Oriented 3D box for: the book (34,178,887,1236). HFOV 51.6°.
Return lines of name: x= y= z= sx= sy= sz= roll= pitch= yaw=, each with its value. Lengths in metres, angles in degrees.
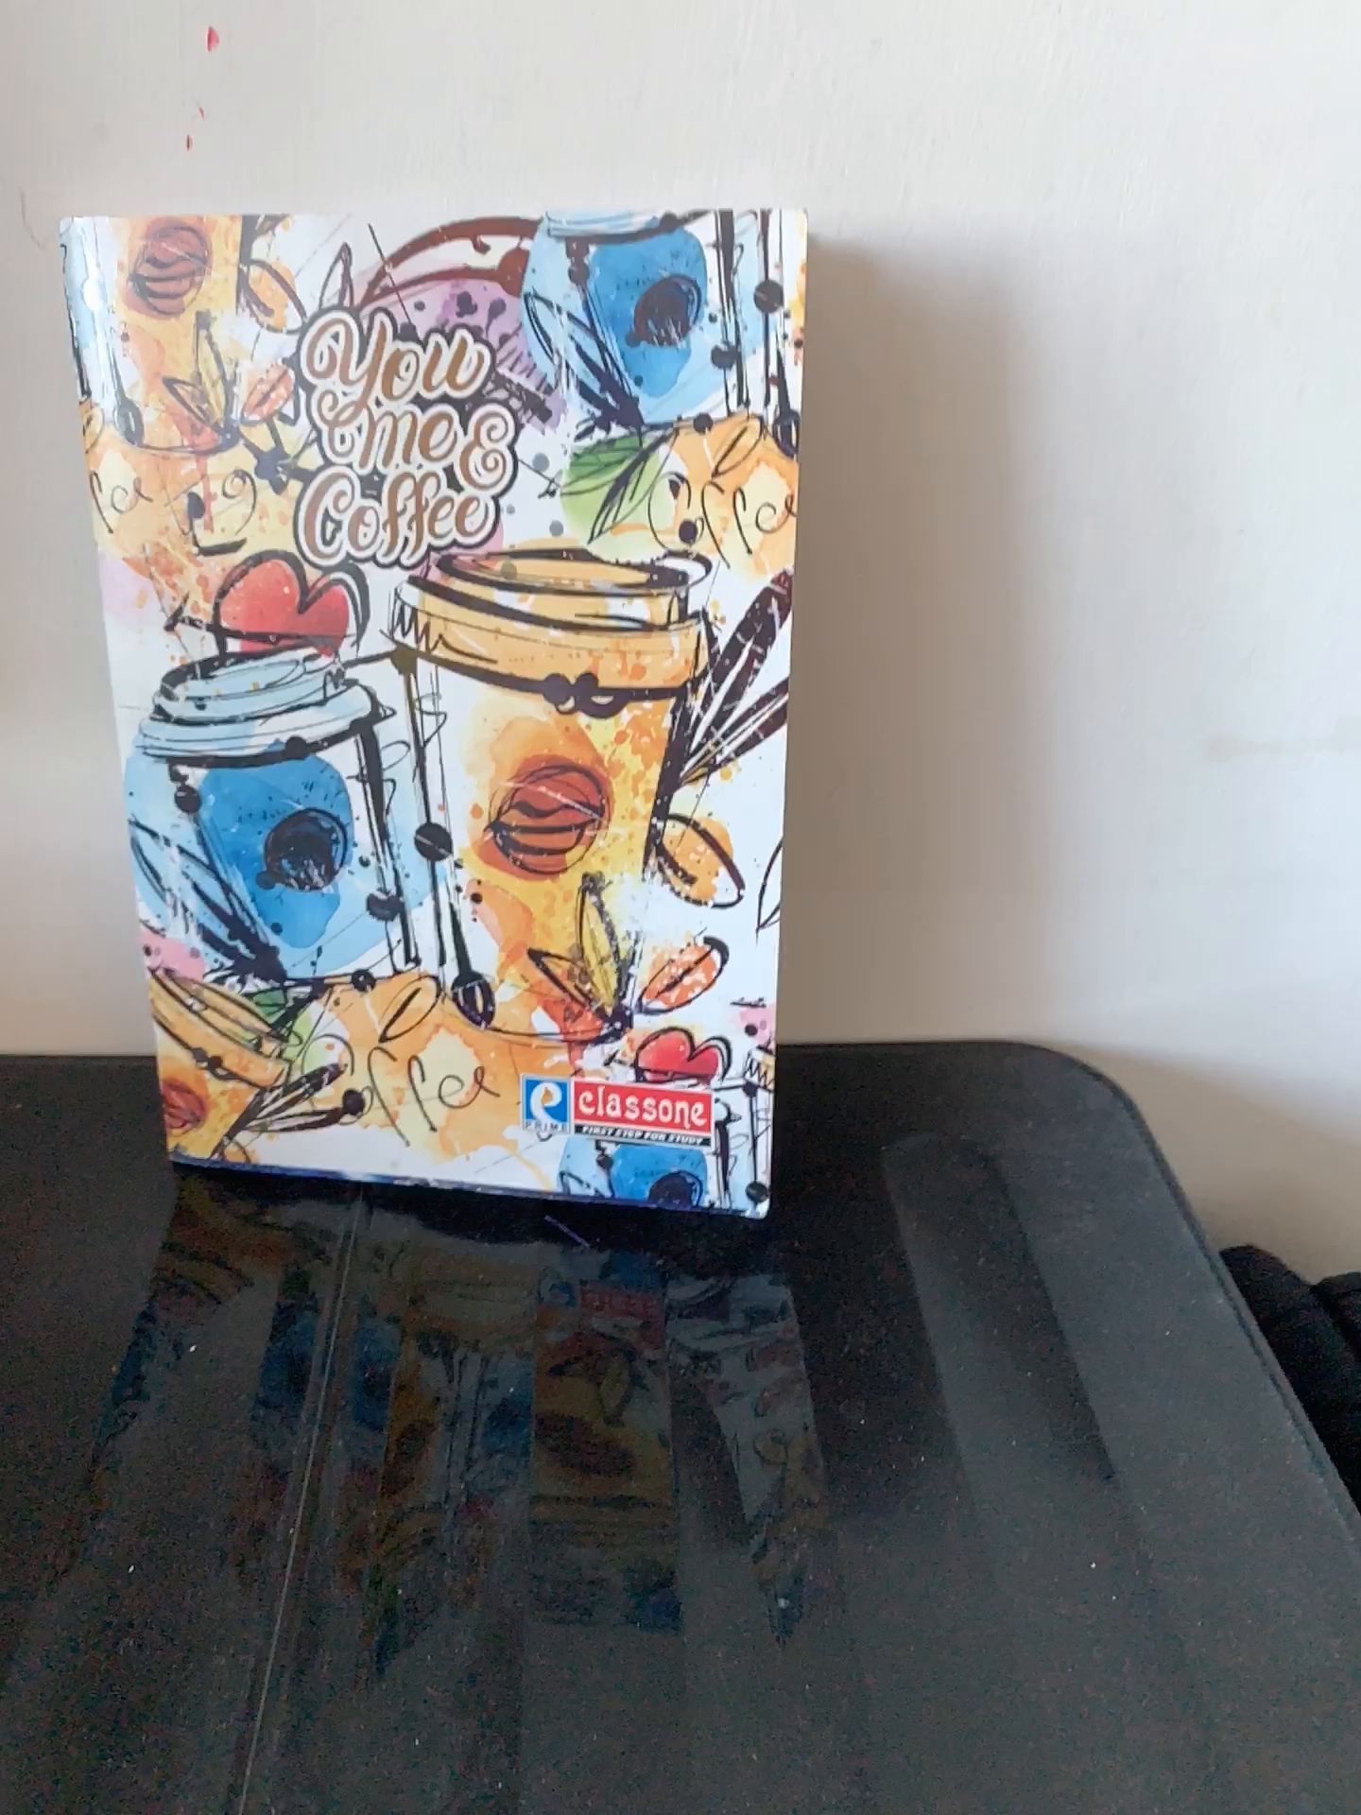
book: x=-0.061 y=-0.051 z=0.432 sx=0.220 sy=0.299 sz=0.050 roll=4 pitch=20 yaw=4
